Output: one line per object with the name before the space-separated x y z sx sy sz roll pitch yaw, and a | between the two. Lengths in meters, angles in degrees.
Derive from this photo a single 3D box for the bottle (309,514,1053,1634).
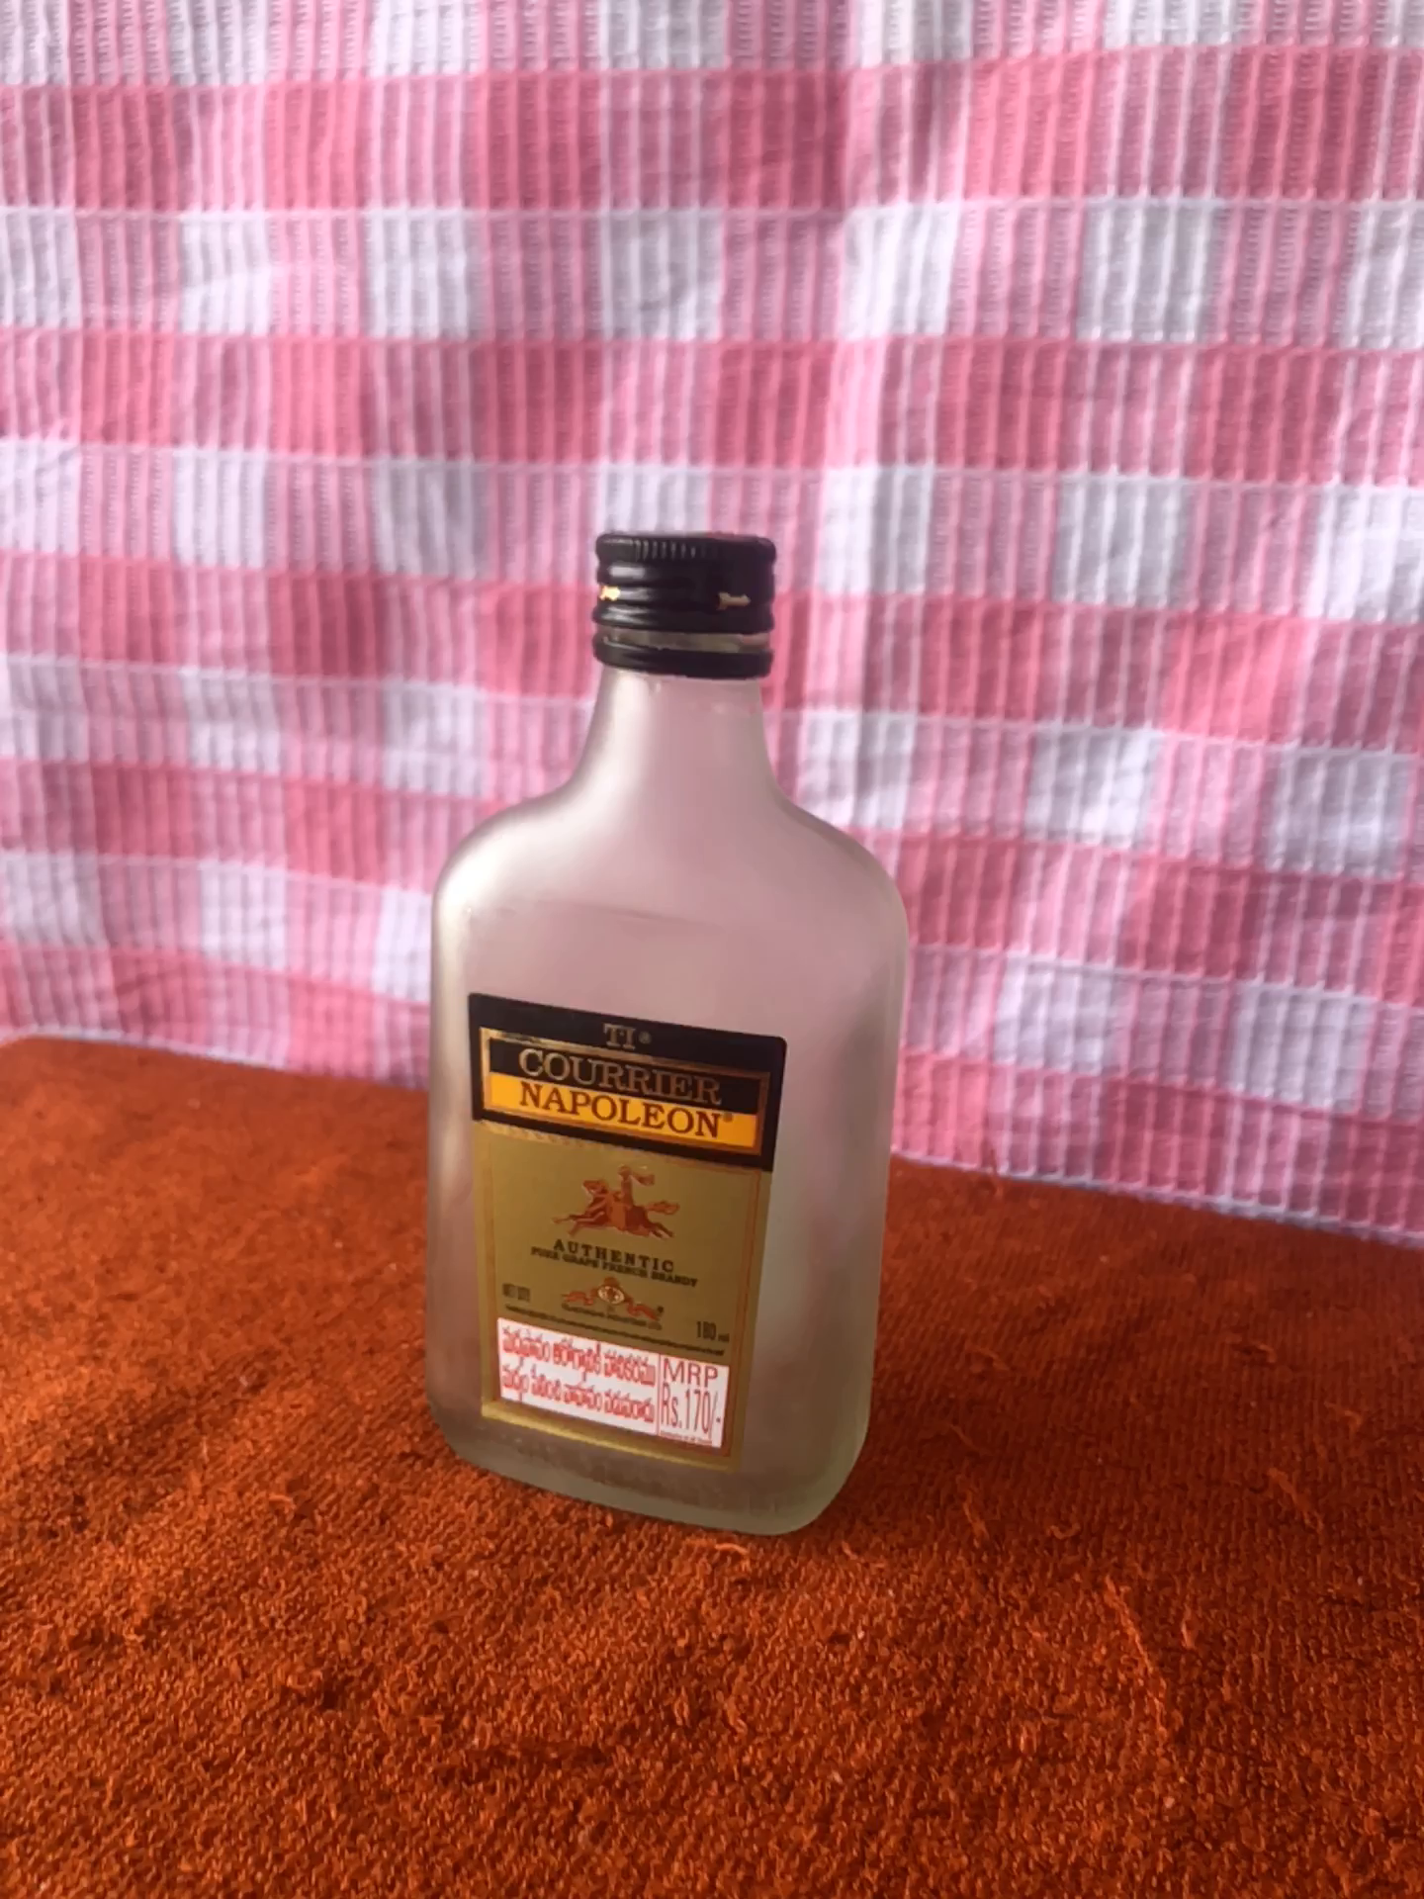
bottle | -0.005 0.012 0.217 0.080 0.129 0.050 9 19 15
